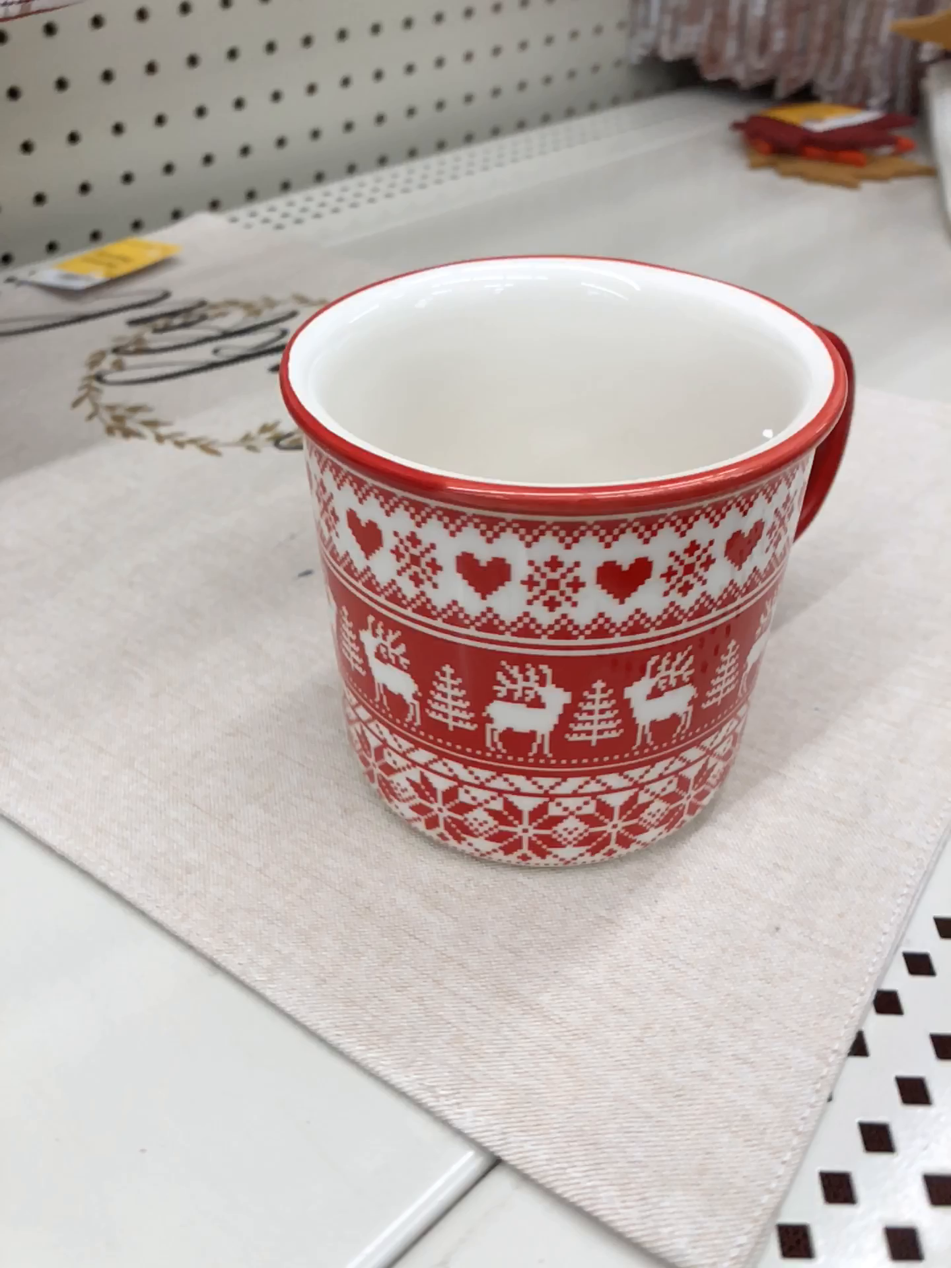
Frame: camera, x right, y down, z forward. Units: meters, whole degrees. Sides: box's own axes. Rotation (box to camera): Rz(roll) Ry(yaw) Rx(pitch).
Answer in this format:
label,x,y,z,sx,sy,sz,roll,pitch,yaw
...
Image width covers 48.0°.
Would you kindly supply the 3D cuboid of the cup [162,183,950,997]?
label,x,y,z,sx,sy,sz,roll,pitch,yaw
cup,0.030,-0.024,0.244,0.150,0.100,0.100,-31,48,-32
